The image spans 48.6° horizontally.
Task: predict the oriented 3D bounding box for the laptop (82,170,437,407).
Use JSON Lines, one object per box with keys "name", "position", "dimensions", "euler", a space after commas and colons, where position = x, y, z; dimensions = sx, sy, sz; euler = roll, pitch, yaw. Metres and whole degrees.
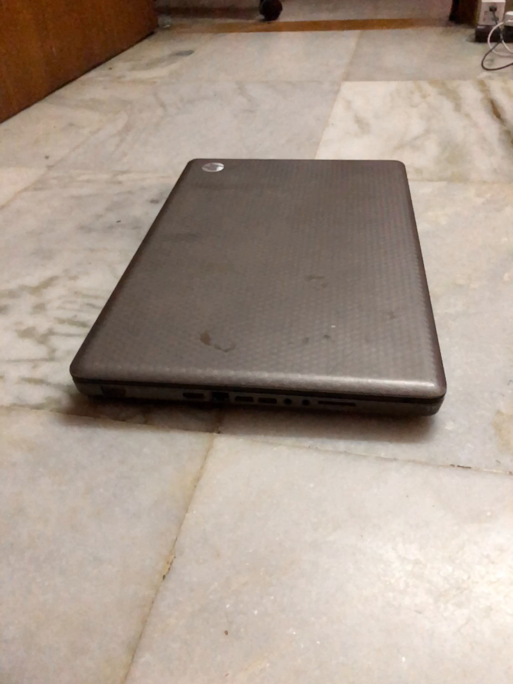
{"name": "laptop", "position": [0.023, -0.084, 0.537], "dimensions": [0.248, 0.002, 0.380], "euler": [3, 40, 8]}
